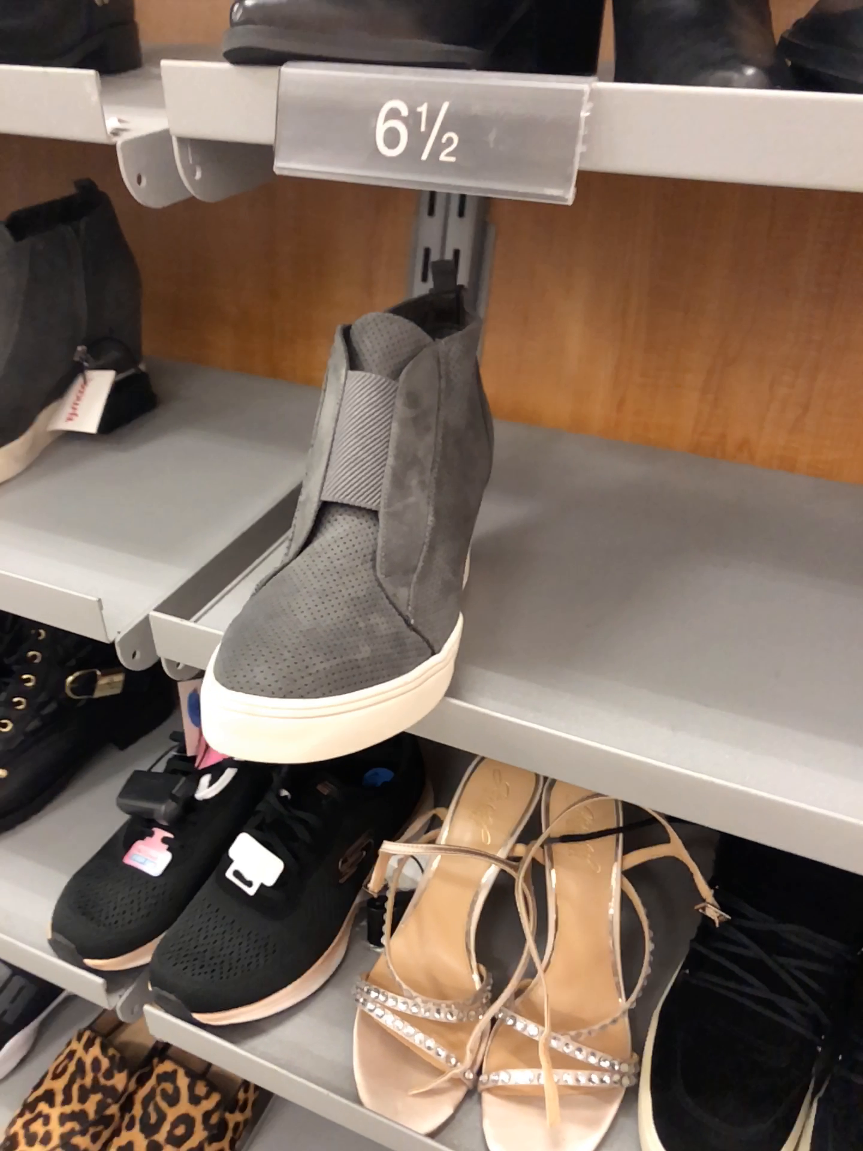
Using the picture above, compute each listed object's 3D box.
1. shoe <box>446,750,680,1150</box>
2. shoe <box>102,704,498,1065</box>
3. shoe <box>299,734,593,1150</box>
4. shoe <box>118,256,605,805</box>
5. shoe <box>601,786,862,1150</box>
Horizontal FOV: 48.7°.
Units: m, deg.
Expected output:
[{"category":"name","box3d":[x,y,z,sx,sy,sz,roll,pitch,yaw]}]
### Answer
[{"category":"shoe","box3d":[0.089,0.220,0.573,0.083,0.089,0.249,12,26,14]},{"category":"shoe","box3d":[-0.073,0.188,0.653,0.109,0.065,0.278,18,25,29]},{"category":"shoe","box3d":[0.021,0.207,0.598,0.083,0.085,0.251,14,25,21]},{"category":"shoe","box3d":[-0.012,-0.048,0.448,0.103,0.173,0.274,13,19,19]},{"category":"shoe","box3d":[0.202,0.246,0.578,0.103,0.068,0.279,15,28,24]}]
